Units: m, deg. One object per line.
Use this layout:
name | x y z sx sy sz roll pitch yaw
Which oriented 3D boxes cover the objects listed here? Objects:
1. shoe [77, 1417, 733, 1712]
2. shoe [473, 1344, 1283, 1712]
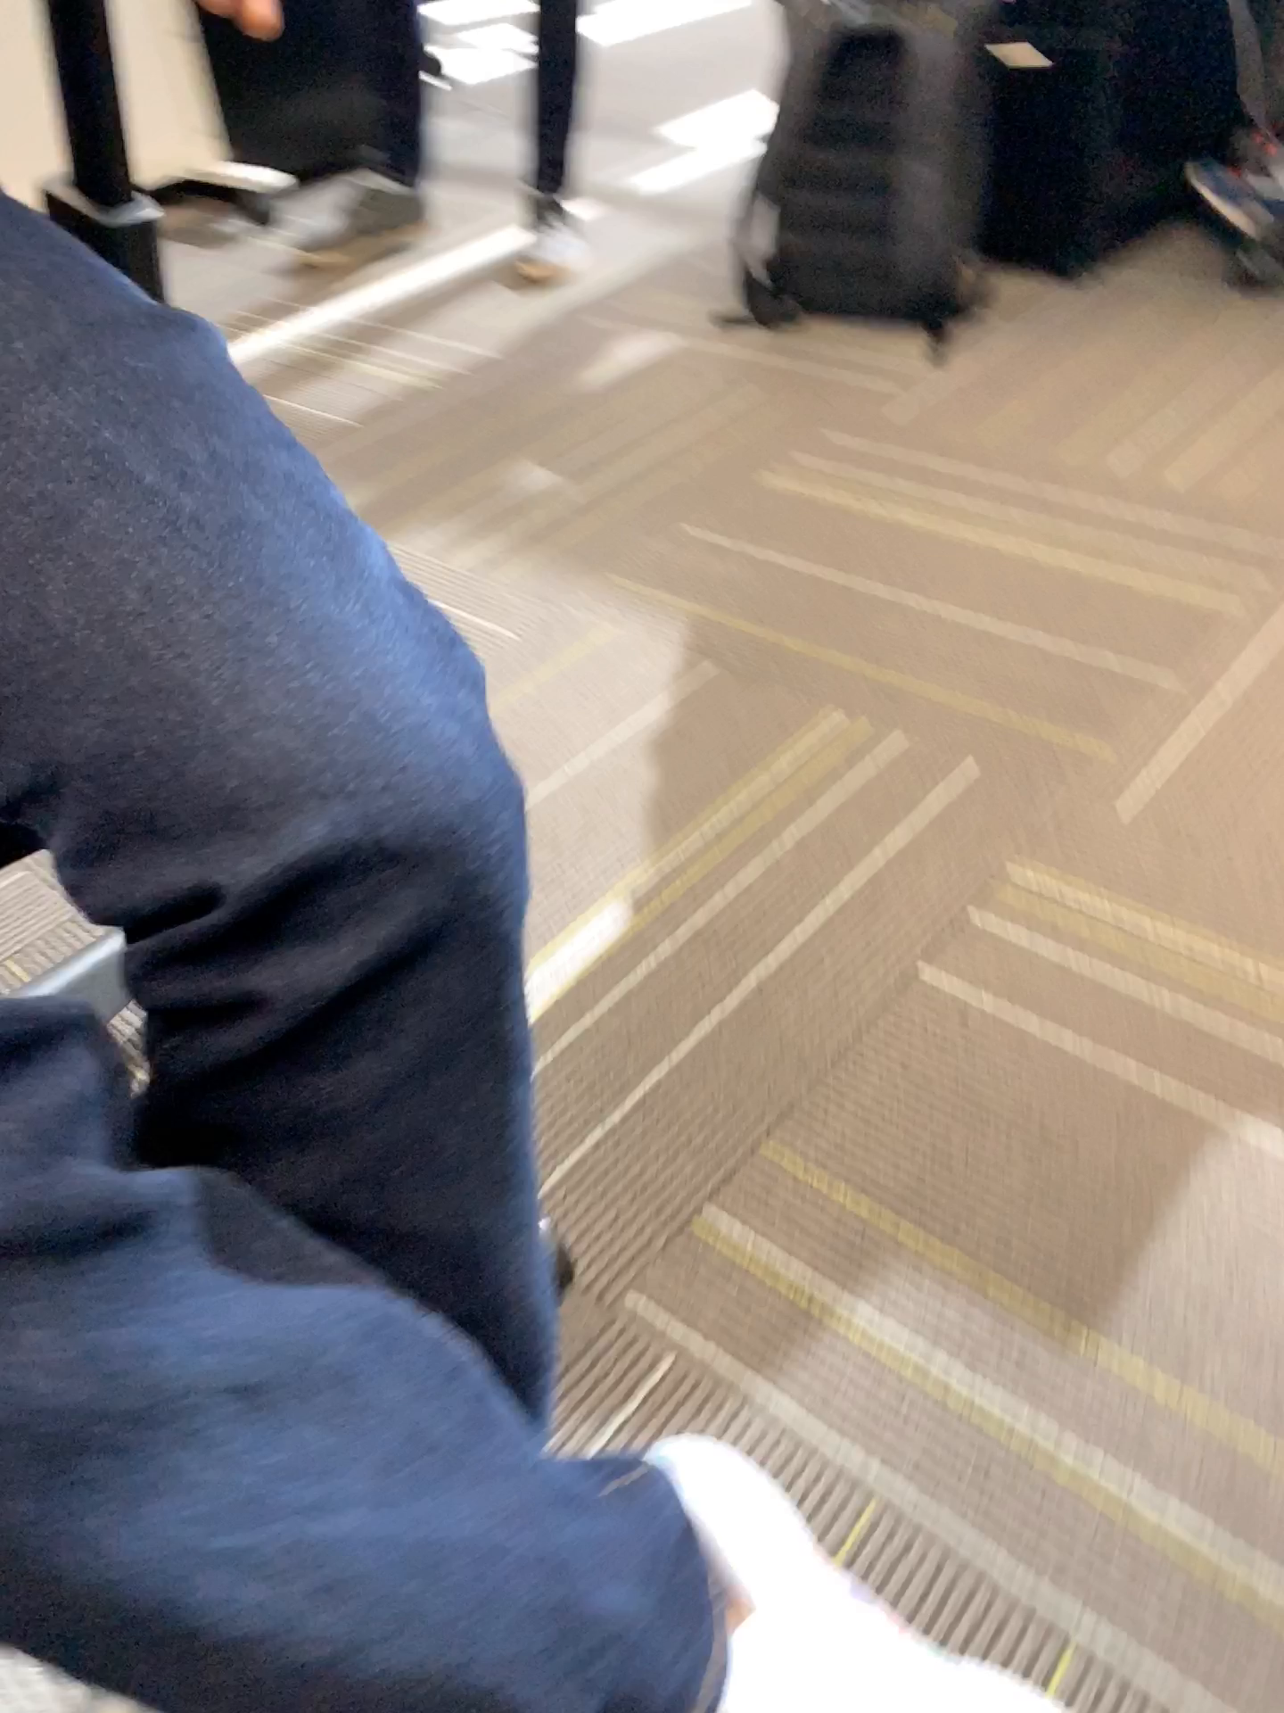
shoe | -0.114 0.392 0.532 0.114 0.109 0.287 -2 29 -43
shoe | 0.080 0.332 0.500 0.266 0.108 0.113 35 15 31
